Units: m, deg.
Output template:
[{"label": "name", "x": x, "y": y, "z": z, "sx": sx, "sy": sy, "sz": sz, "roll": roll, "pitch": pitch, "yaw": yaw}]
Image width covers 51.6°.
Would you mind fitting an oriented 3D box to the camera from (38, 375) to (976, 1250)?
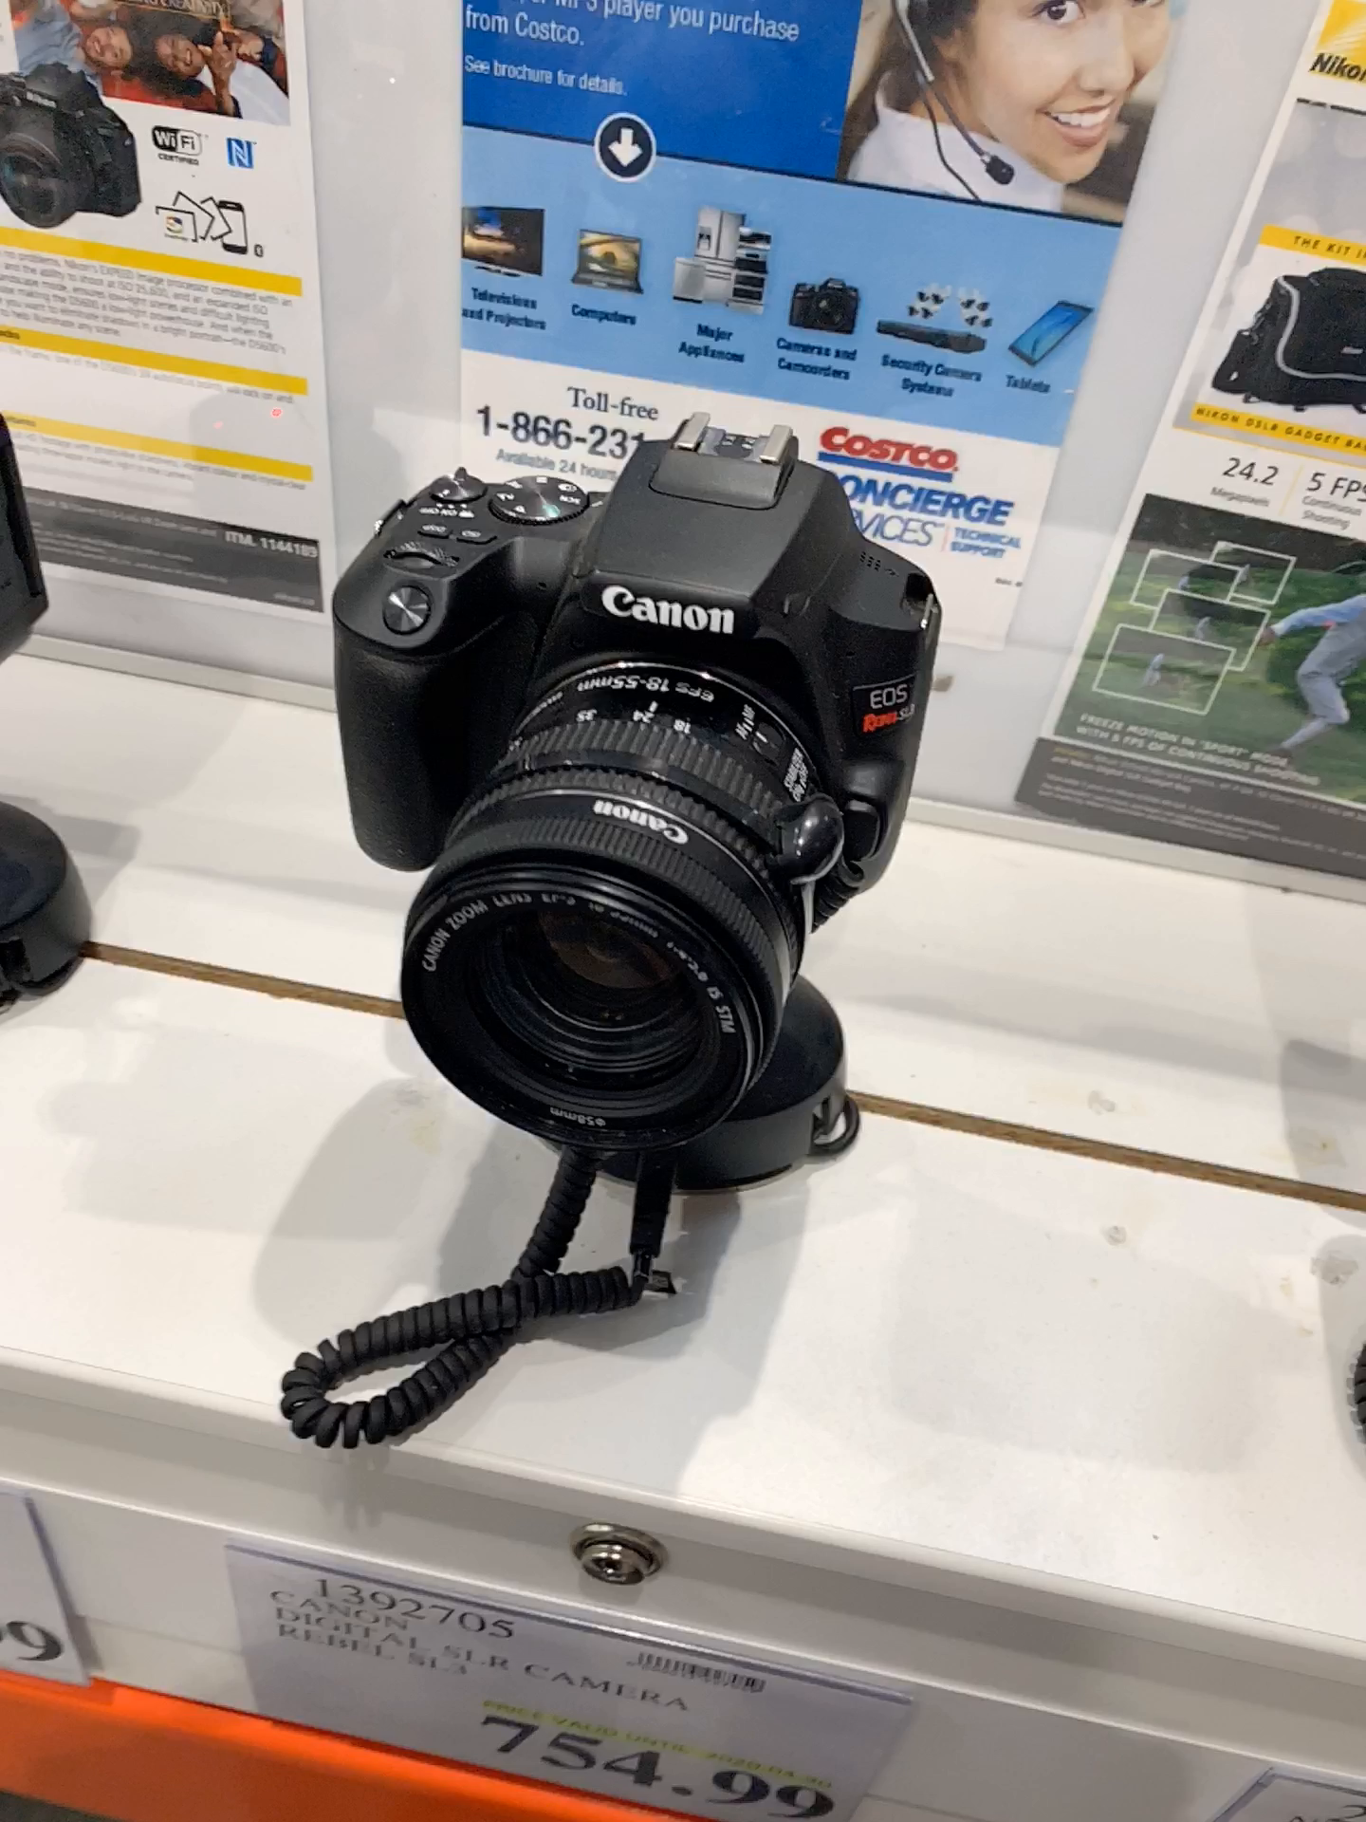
[{"label": "camera", "x": -0.019, "y": -0.023, "z": 0.251, "sx": 0.120, "sy": 0.089, "sz": 0.111, "roll": 10, "pitch": 41, "yaw": 6}]
